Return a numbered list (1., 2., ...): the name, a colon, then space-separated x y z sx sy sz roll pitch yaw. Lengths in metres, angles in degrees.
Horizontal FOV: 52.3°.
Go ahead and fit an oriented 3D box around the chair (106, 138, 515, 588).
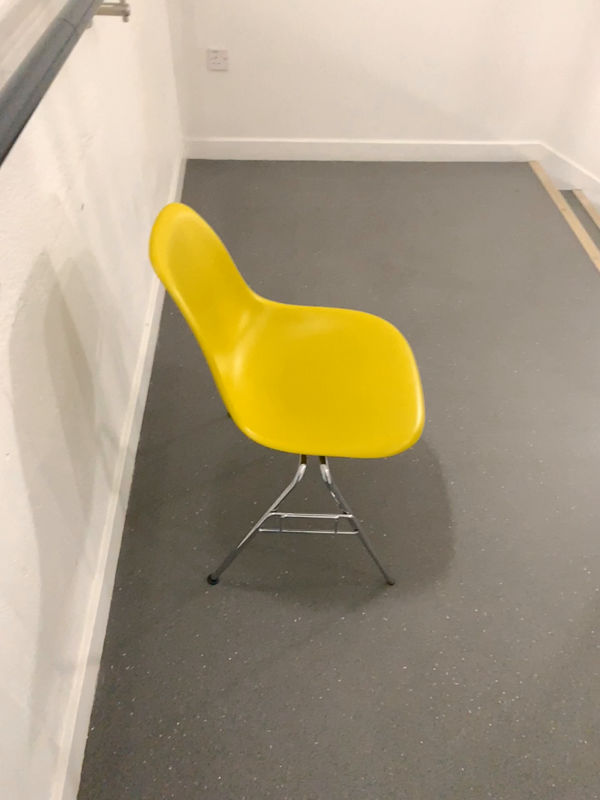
1. chair: 0.005 -0.058 1.319 0.560 0.733 0.626 1 47 -1
